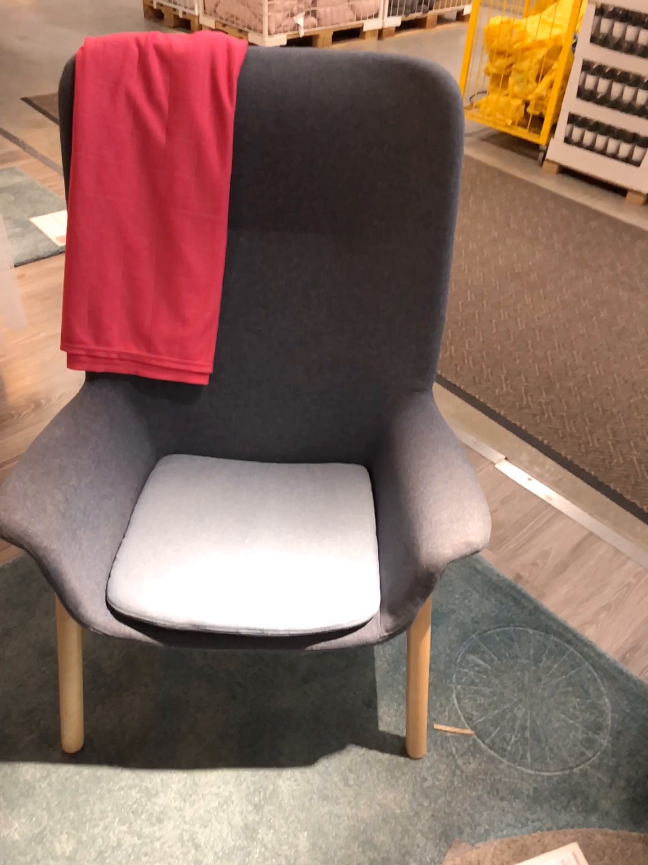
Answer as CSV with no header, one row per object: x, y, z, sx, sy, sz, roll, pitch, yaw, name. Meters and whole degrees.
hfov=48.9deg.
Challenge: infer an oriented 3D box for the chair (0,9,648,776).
-0.127,-0.024,1.156,0.790,0.996,0.703,2,41,-2,chair
